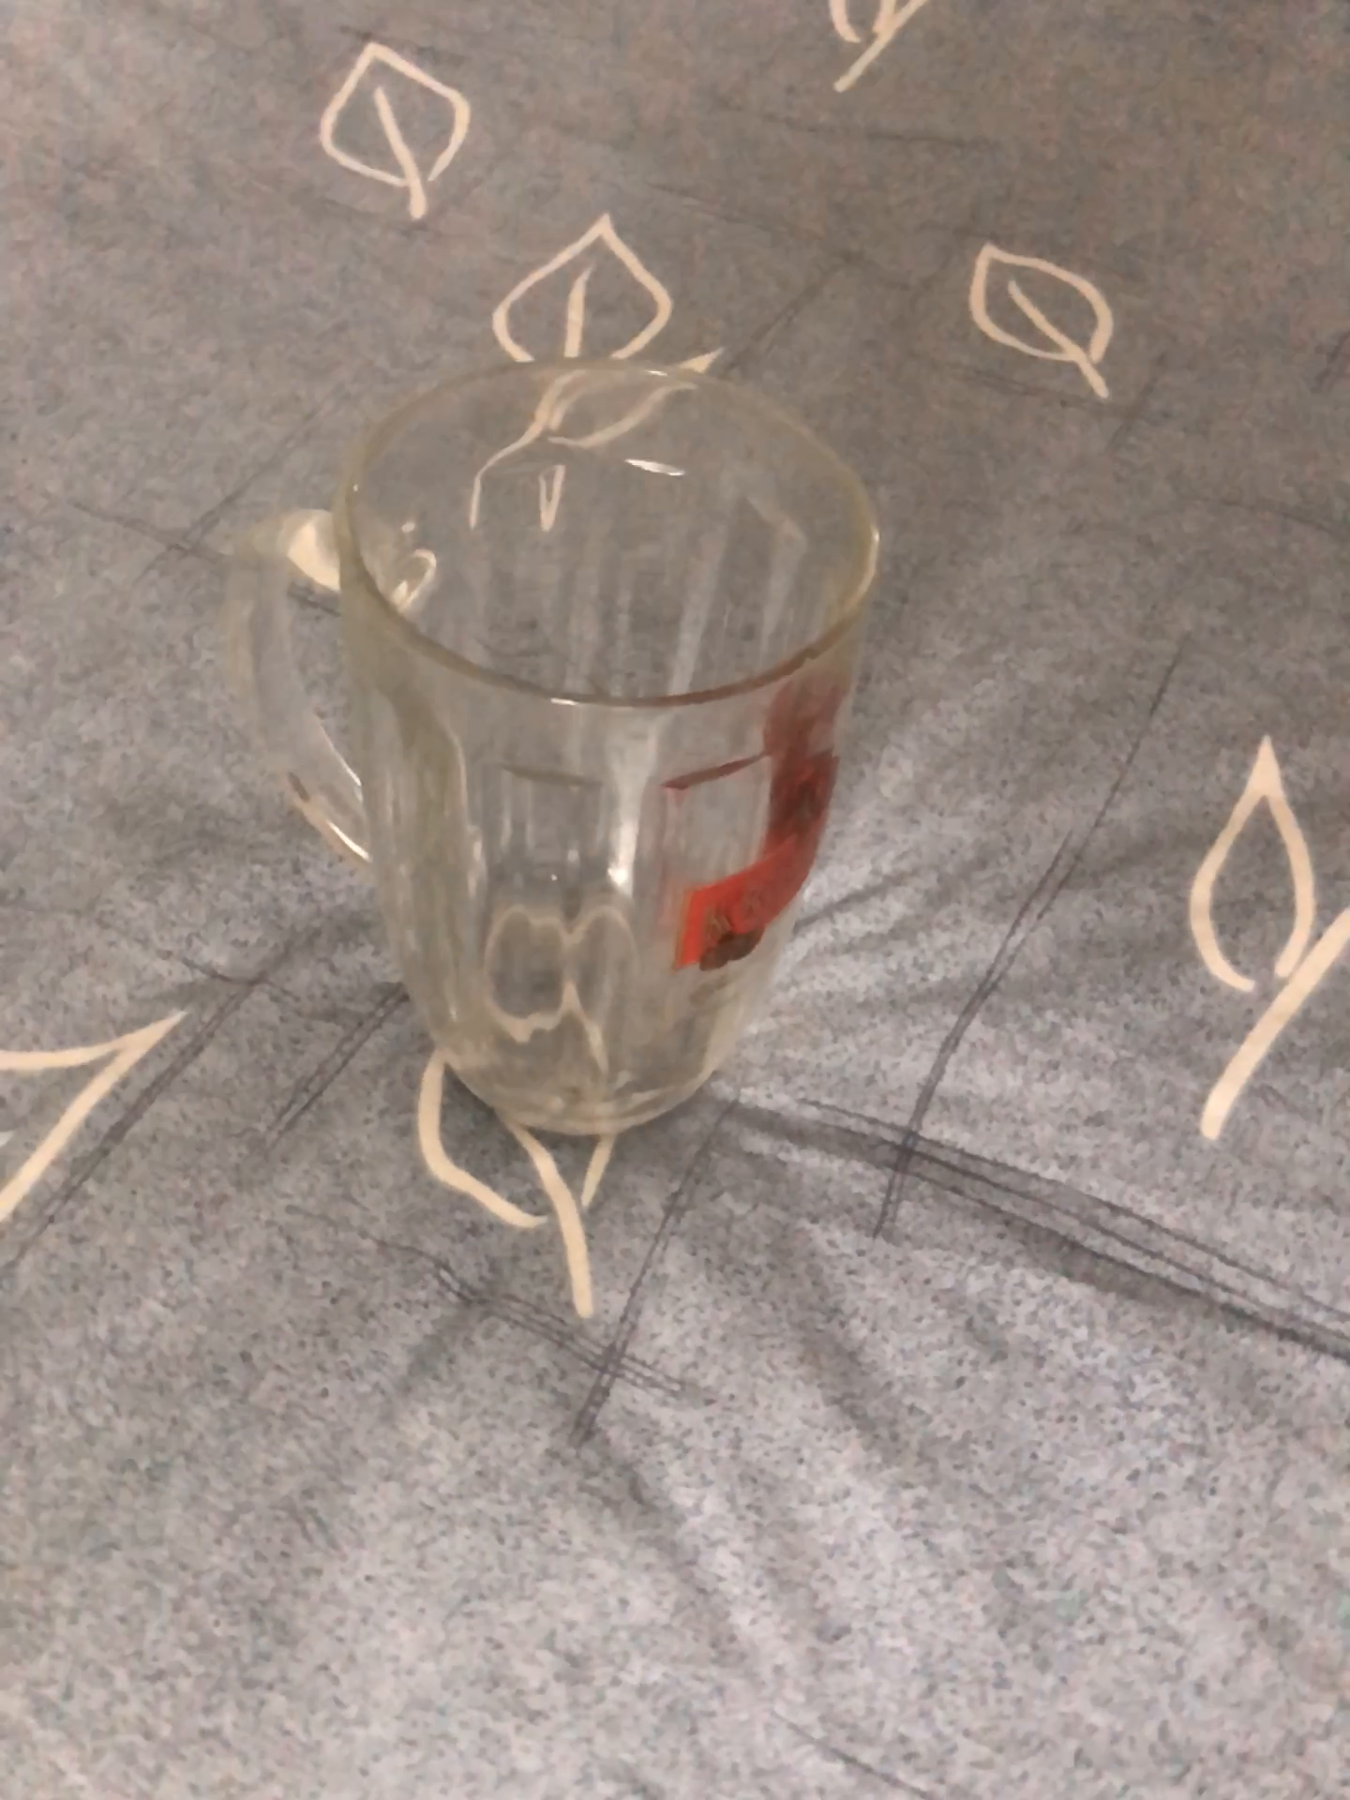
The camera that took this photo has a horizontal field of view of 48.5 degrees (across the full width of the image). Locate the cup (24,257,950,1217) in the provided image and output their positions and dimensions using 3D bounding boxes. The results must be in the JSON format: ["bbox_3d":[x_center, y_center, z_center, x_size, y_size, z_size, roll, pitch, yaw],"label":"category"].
[{"bbox_3d":[-0.030,-0.030,0.308,0.127,0.136,0.091,24,57,17],"label":"cup"}]
